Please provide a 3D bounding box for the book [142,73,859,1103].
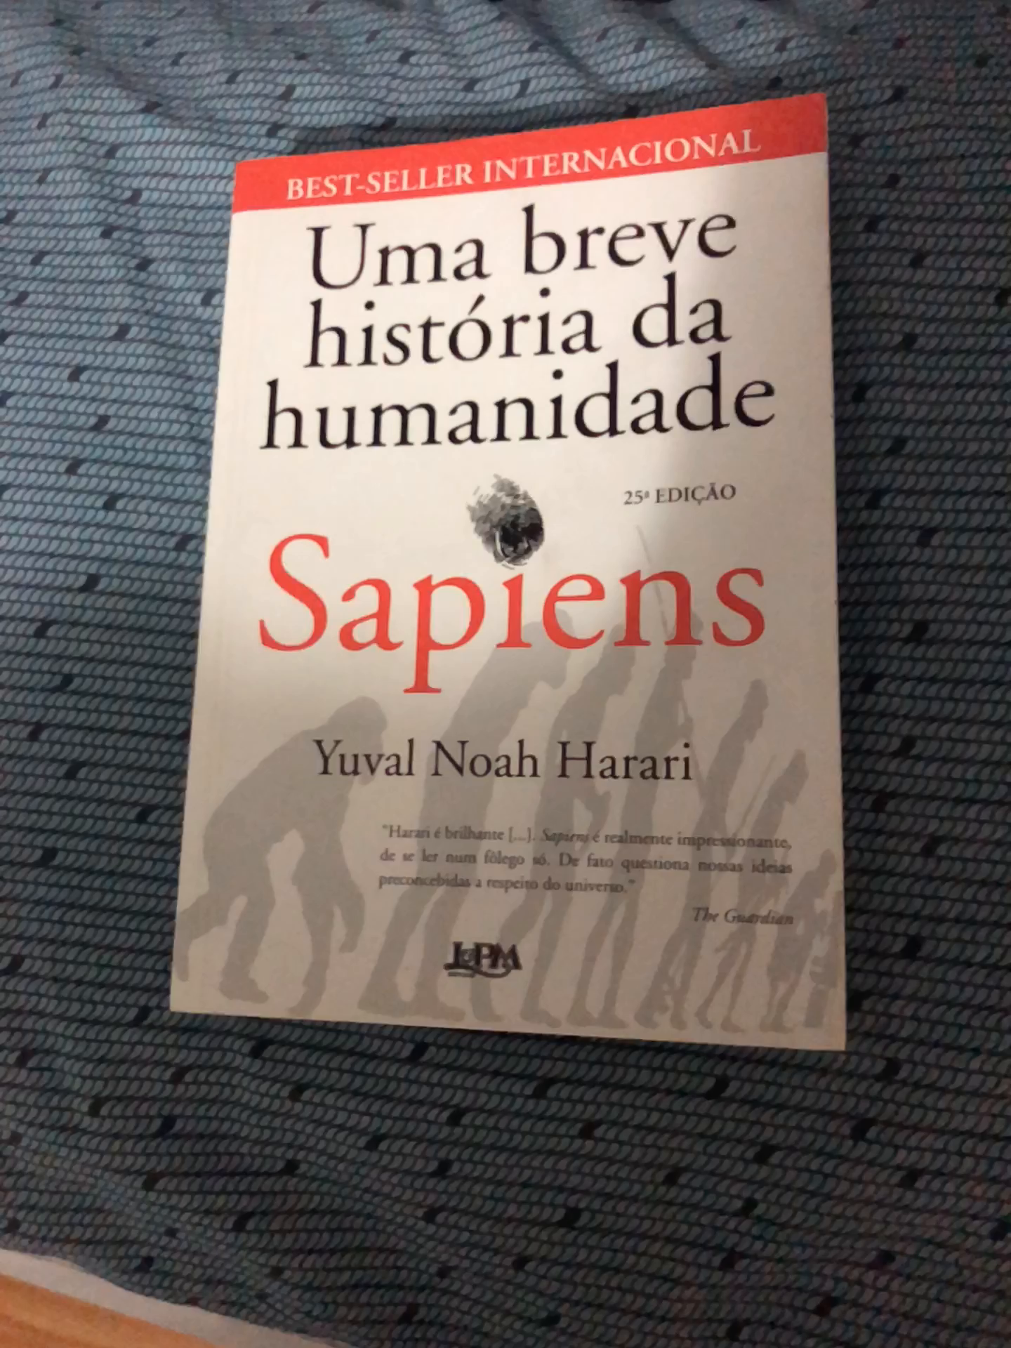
[{"bbox_3d":[0.000,-0.025,0.289,0.160,0.040,0.240,-1,79,10],"label":"book"}]
